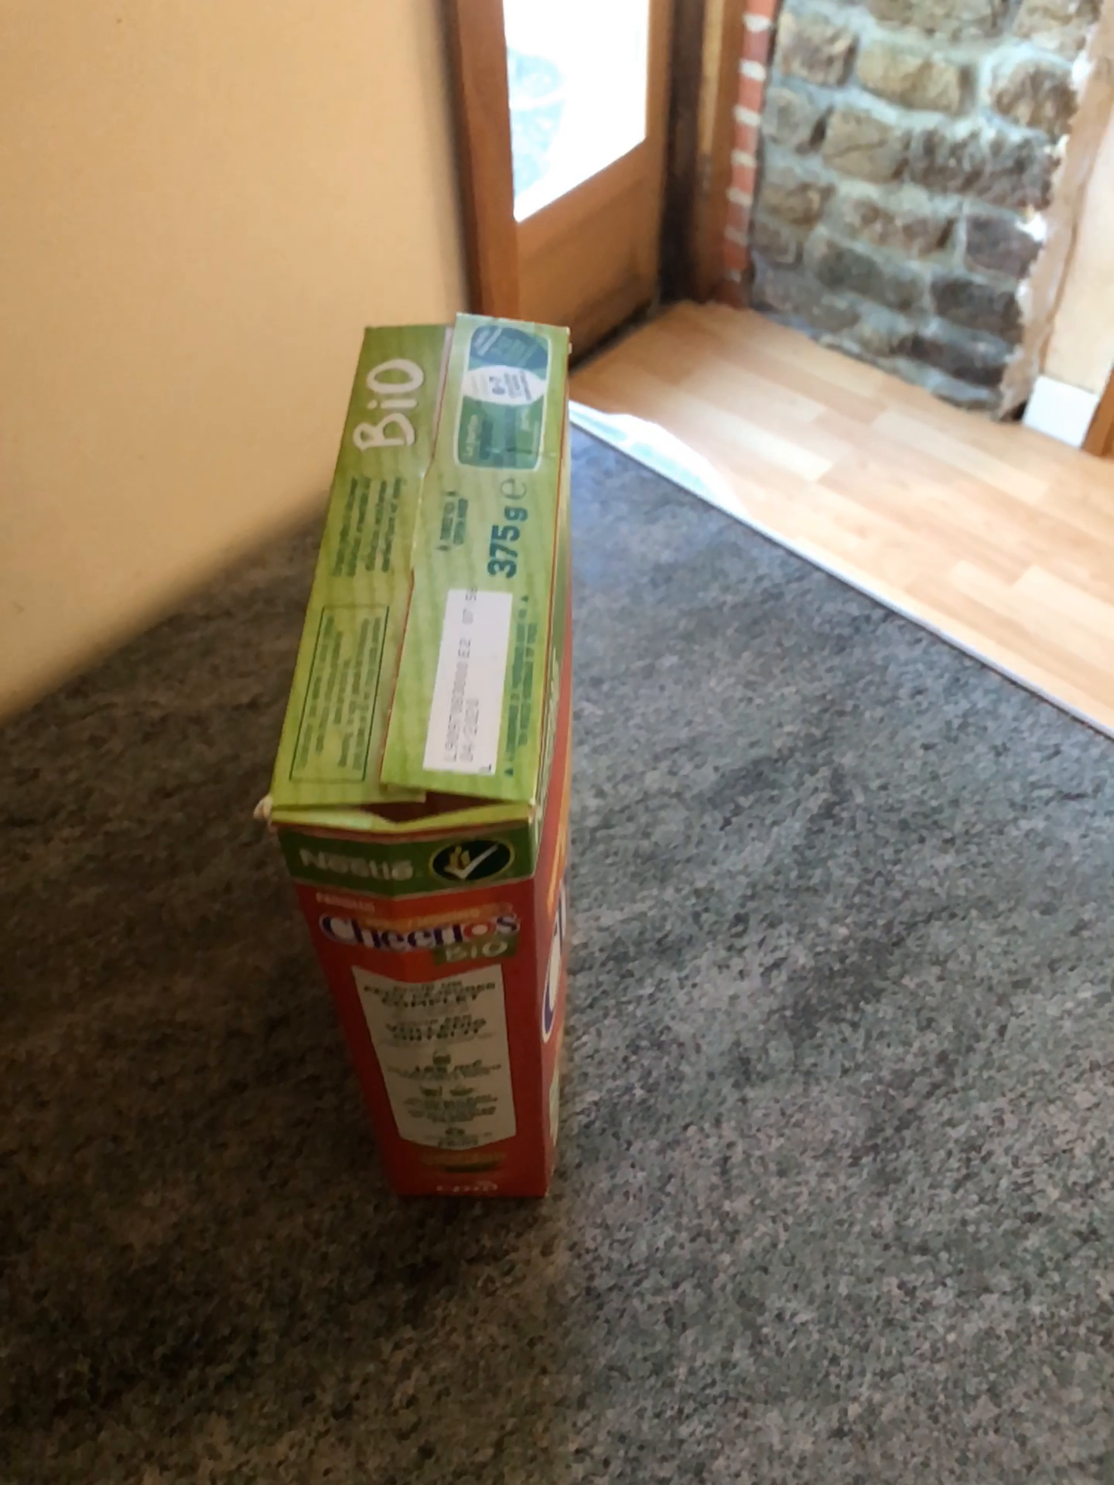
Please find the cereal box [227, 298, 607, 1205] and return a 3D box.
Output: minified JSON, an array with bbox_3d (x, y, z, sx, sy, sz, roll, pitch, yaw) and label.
[{"bbox_3d":[-0.026,0.018,0.431,0.080,0.259,0.201,1,52,2],"label":"cereal box"}]
